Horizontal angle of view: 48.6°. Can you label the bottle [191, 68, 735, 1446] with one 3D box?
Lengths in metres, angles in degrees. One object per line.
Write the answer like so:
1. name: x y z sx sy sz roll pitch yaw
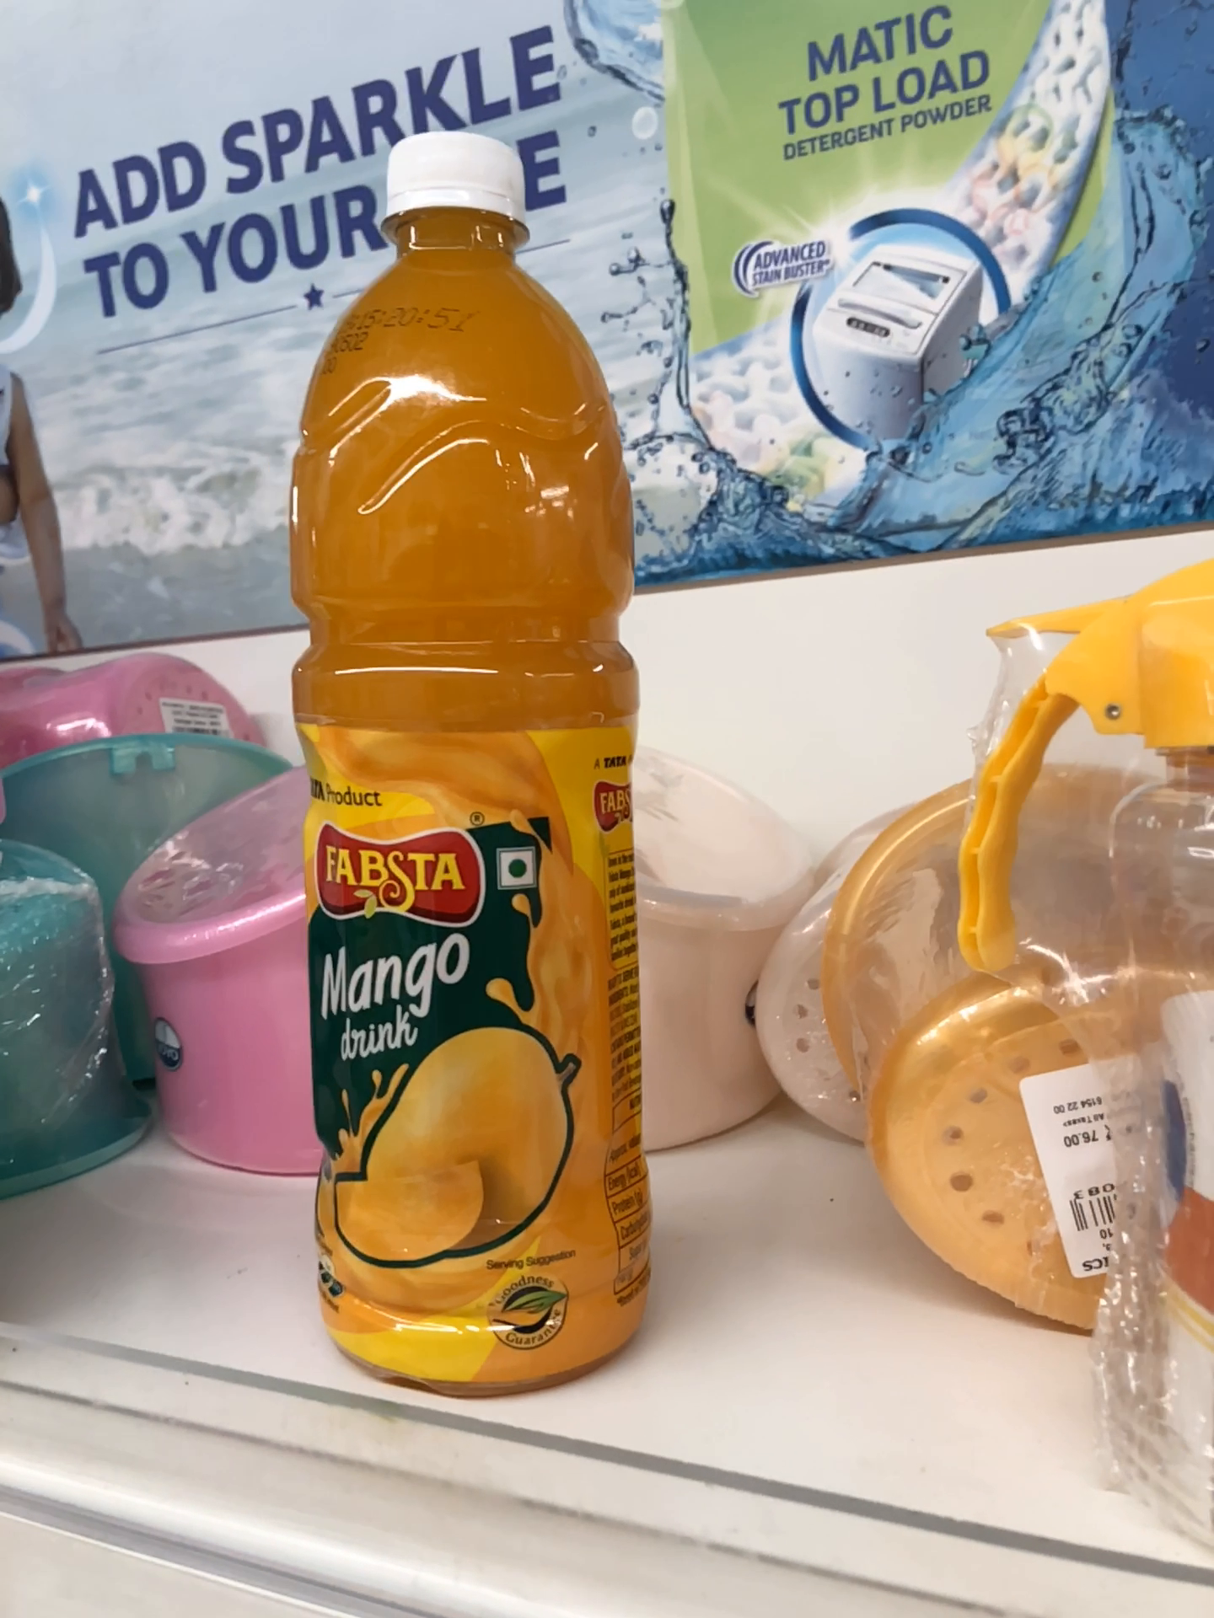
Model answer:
1. bottle: -0.028 -0.009 0.307 0.090 0.260 0.080 3 7 23
